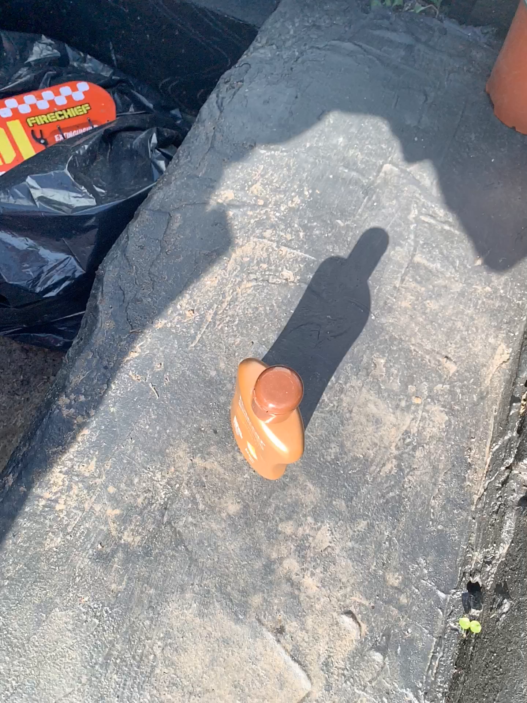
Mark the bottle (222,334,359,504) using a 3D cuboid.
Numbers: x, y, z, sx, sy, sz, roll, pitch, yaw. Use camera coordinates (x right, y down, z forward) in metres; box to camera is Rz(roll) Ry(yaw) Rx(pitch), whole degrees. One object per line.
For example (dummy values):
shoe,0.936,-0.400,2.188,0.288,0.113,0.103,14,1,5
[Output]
bottle,0.009,0.054,0.362,0.040,0.149,0.070,-26,74,-15
